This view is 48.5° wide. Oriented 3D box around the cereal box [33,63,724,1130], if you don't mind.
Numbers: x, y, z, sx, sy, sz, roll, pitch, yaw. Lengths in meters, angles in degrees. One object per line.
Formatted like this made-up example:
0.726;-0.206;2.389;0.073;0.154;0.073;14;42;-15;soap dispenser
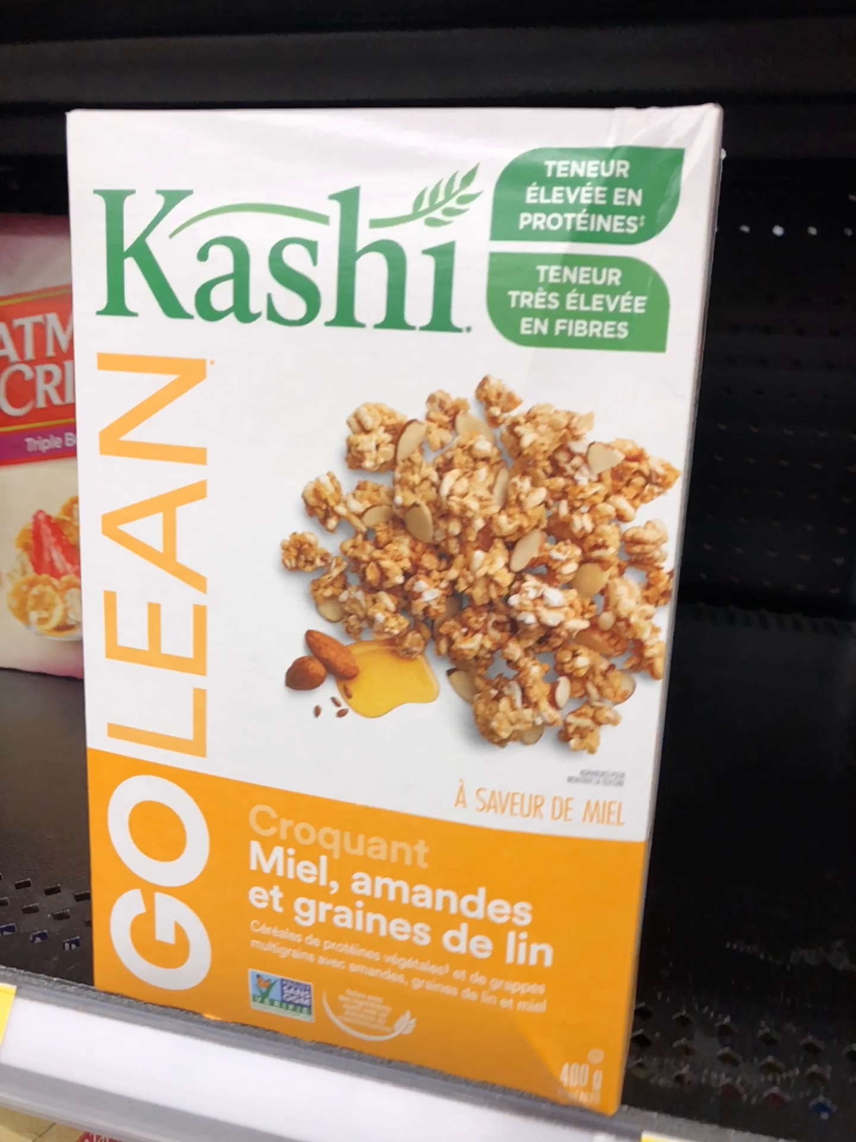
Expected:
-0.019;0.009;0.276;0.170;0.269;0.050;6;14;15;cereal box
